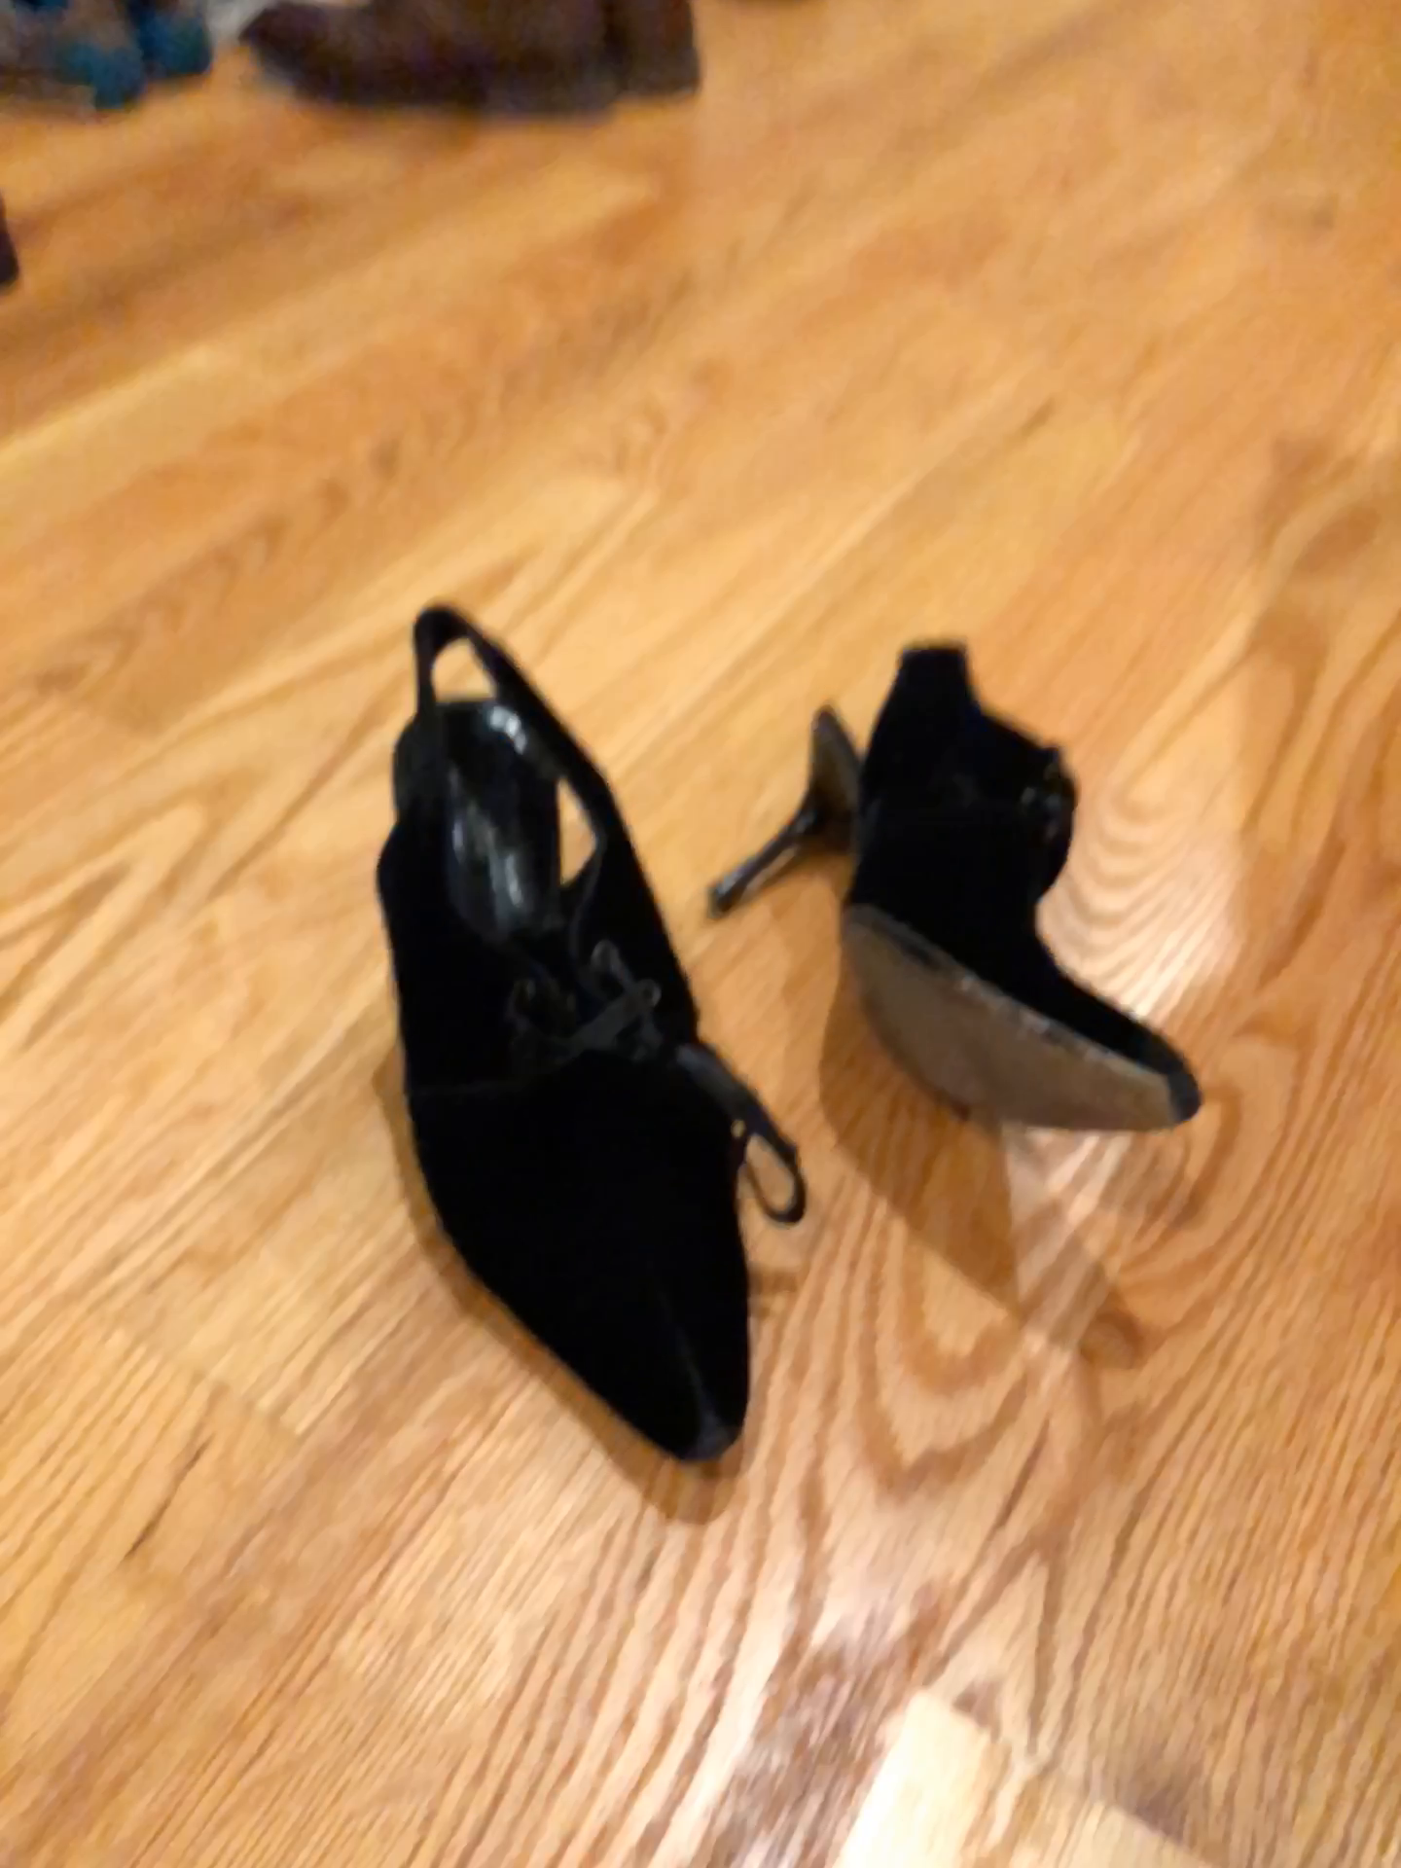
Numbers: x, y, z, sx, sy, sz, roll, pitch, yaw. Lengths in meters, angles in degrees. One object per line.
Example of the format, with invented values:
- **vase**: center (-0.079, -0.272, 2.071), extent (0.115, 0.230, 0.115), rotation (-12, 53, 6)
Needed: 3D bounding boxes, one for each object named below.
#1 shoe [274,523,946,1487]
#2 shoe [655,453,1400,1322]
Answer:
- **shoe**: center (-0.040, 0.002, 0.452), extent (0.107, 0.117, 0.253), rotation (-14, 45, -14)
- **shoe**: center (0.074, -0.032, 0.474), extent (0.118, 0.106, 0.254), rotation (-11, 45, -10)
